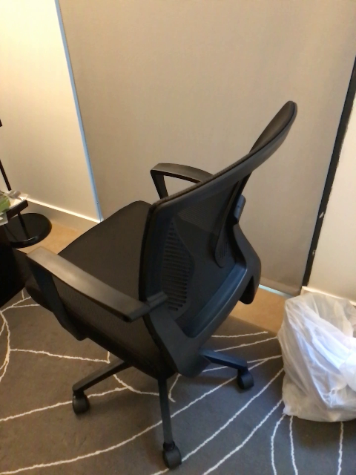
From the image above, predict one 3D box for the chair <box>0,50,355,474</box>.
[{"bbox_3d":[-0.069,0.068,1.239,0.791,0.992,0.835,24,45,29],"label":"chair"}]
